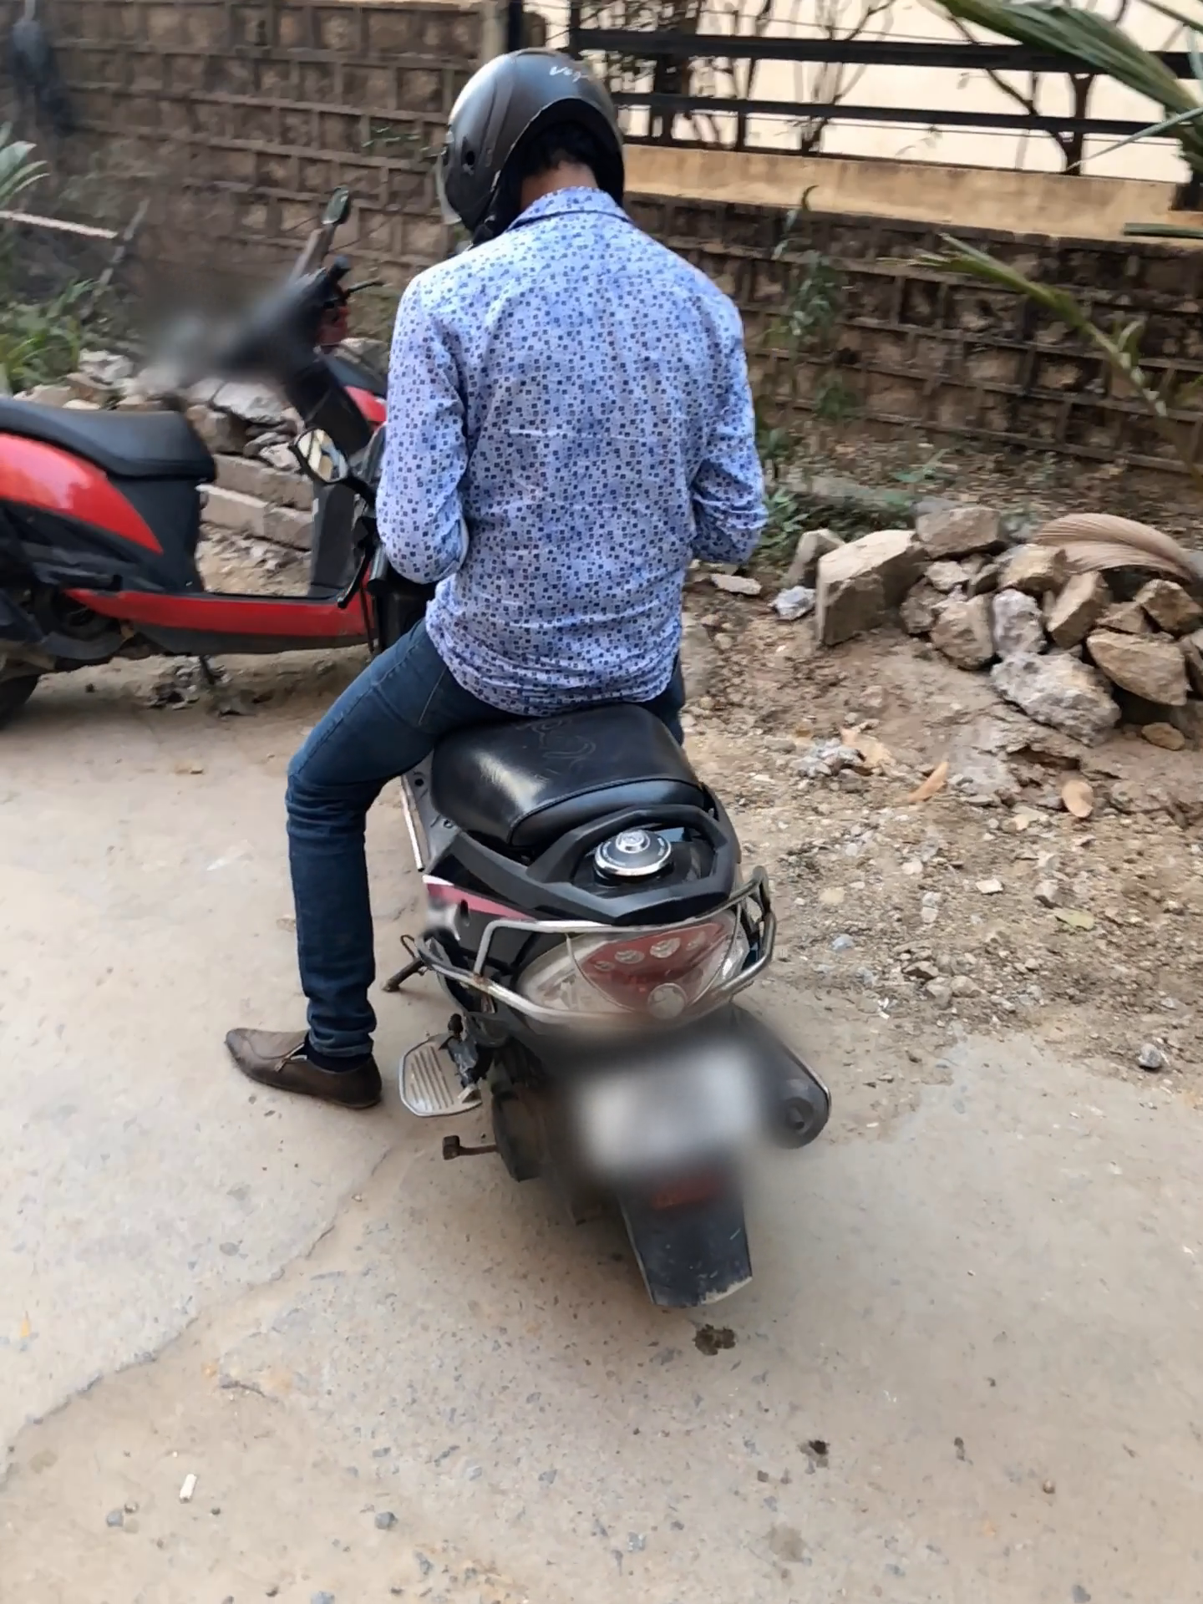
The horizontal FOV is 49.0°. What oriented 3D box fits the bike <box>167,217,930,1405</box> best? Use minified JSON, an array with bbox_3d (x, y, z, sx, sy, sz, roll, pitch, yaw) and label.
[{"bbox_3d":[-0.256,-0.165,2.025,0.560,1.054,1.481,-5,31,-23],"label":"bike"}]
